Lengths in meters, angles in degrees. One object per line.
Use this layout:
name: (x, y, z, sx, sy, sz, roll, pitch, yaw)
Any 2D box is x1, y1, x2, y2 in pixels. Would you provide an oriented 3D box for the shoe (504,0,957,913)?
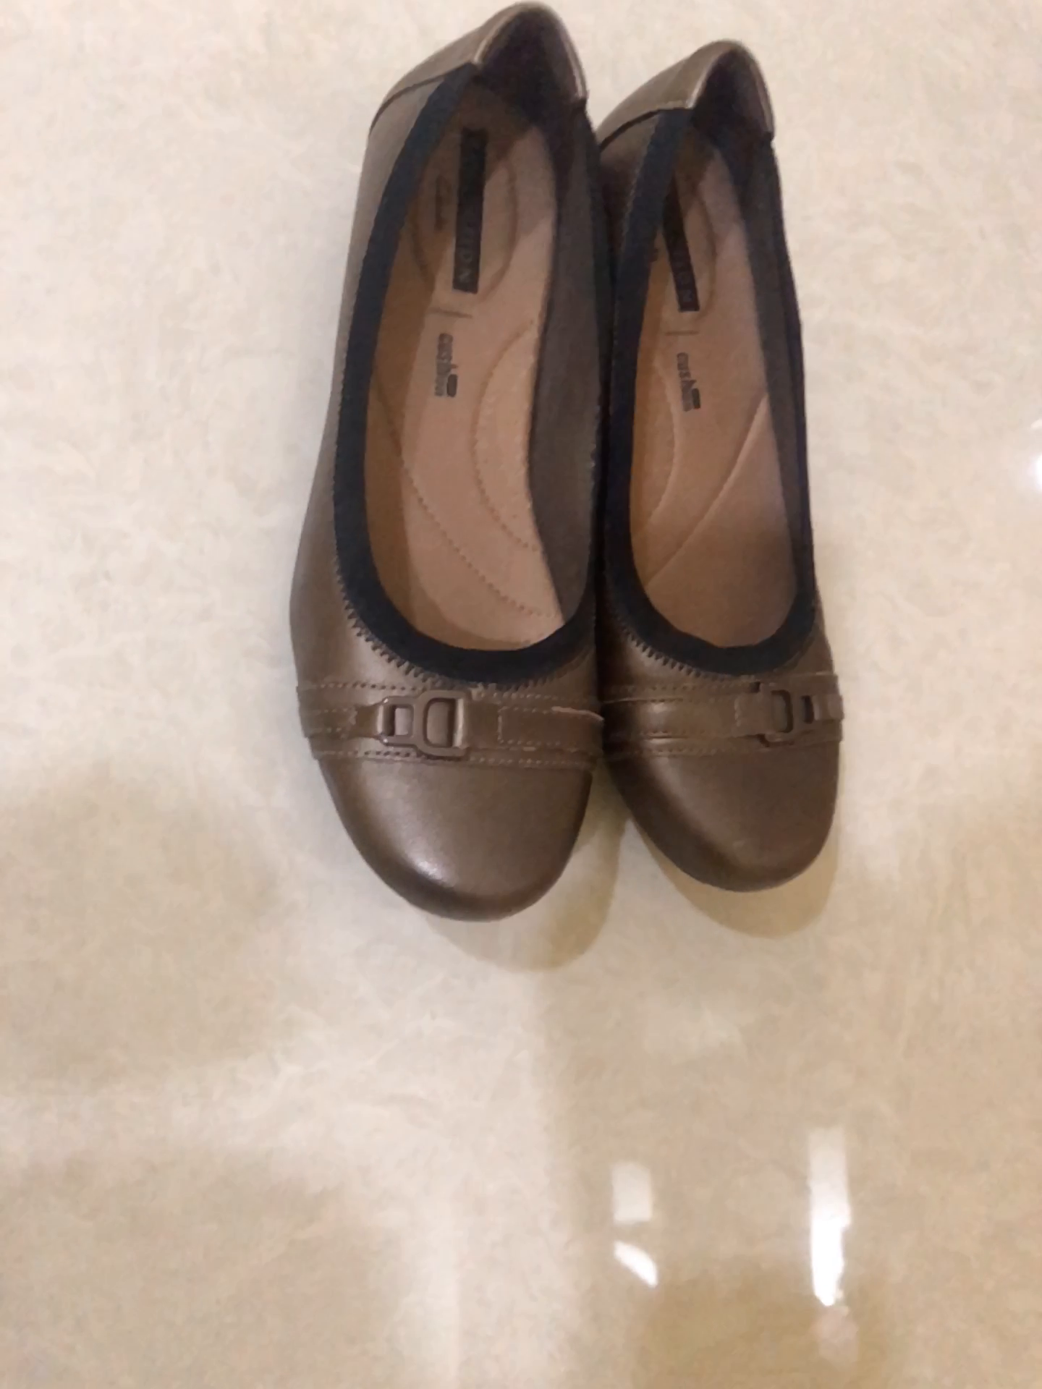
shoe: (0.061, -0.070, 0.367, 0.090, 0.070, 0.260, -4, 85, -22)

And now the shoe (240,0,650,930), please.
shoe: (-0.020, -0.072, 0.333, 0.100, 0.050, 0.270, 4, 82, -21)
